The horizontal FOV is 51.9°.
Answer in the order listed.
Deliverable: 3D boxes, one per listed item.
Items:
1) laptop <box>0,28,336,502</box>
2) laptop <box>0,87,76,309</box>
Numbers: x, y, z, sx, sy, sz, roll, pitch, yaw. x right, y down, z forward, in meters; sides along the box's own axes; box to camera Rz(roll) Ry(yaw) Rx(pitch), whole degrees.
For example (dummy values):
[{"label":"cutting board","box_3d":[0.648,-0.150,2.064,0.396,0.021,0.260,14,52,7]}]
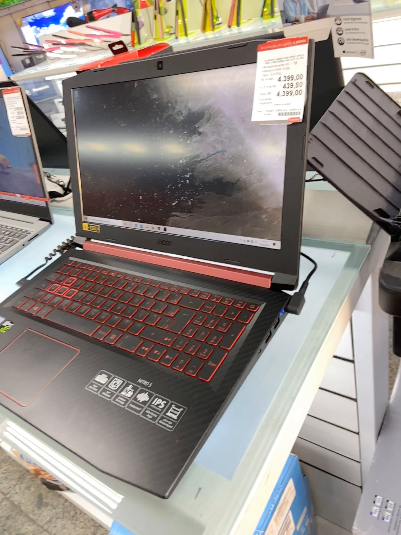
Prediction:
[{"label":"laptop","box_3d":[-0.114,-0.056,0.458,0.388,0.218,0.362,10,44,36]},{"label":"laptop","box_3d":[-0.510,-0.155,0.776,0.355,0.225,0.324,11,44,33]}]
